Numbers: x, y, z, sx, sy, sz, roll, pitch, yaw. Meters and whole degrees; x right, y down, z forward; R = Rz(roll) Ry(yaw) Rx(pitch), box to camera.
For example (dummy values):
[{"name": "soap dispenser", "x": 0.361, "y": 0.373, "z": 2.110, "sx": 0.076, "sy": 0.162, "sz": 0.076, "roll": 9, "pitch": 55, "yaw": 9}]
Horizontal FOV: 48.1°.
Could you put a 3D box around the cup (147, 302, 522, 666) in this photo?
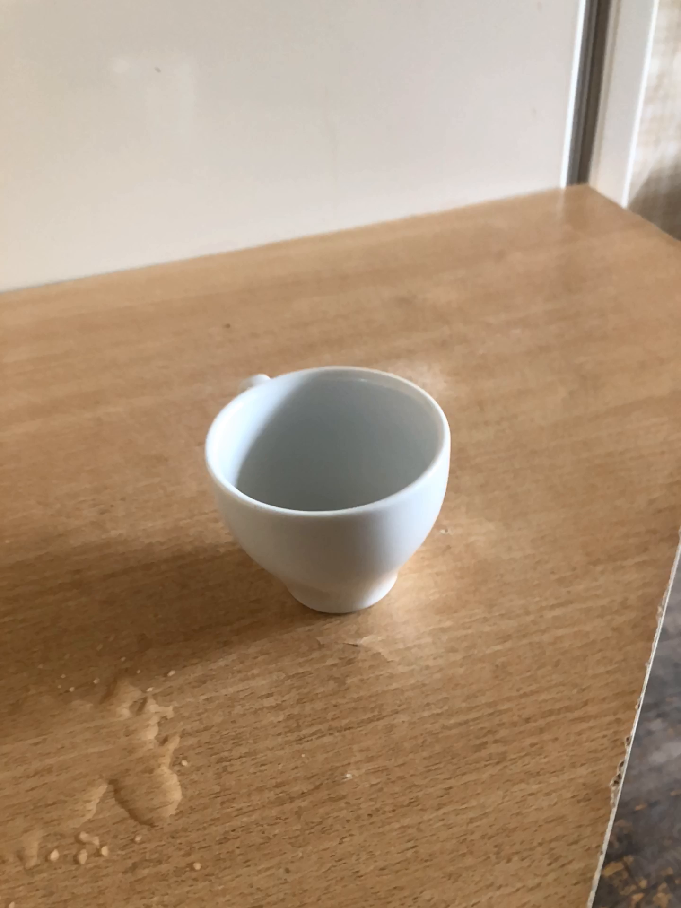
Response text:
[{"name": "cup", "x": -0.005, "y": 0.002, "z": 0.263, "sx": 0.080, "sy": 0.050, "sz": 0.105, "roll": -24, "pitch": 43, "yaw": -21}]
